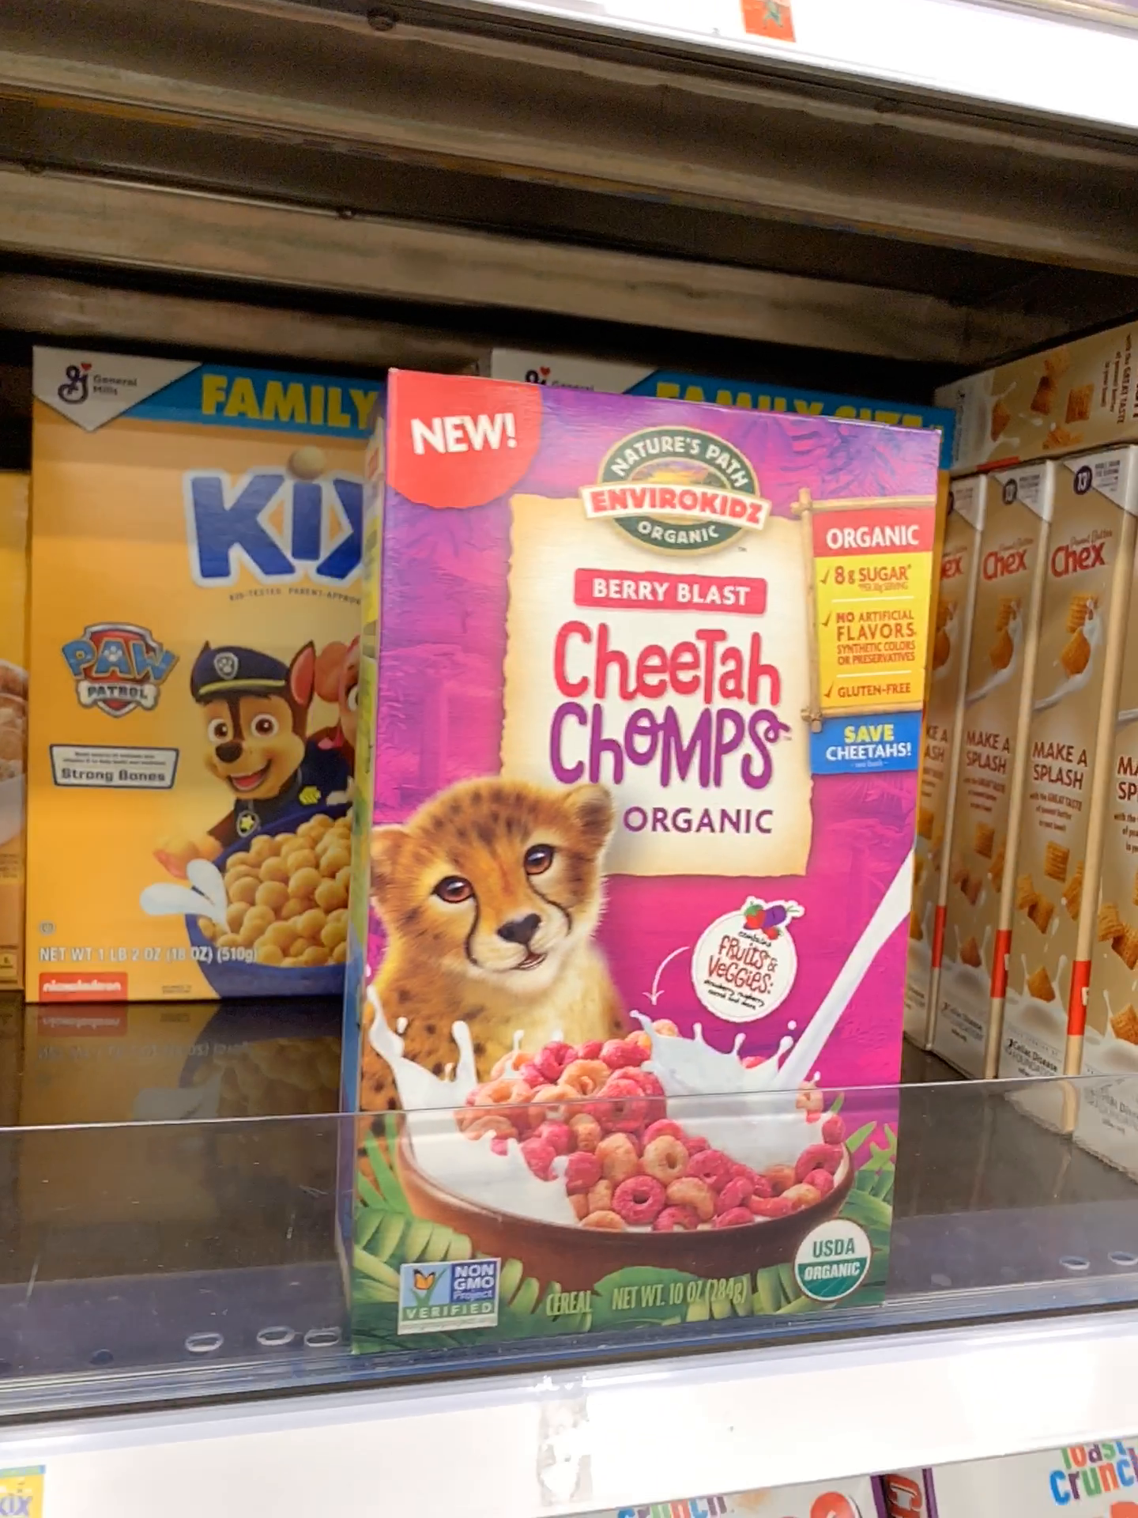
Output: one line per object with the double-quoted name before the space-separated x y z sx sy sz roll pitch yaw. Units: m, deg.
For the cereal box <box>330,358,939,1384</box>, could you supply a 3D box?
"cereal box" 0.016 0.032 0.357 0.160 0.270 0.060 2 3 -14
